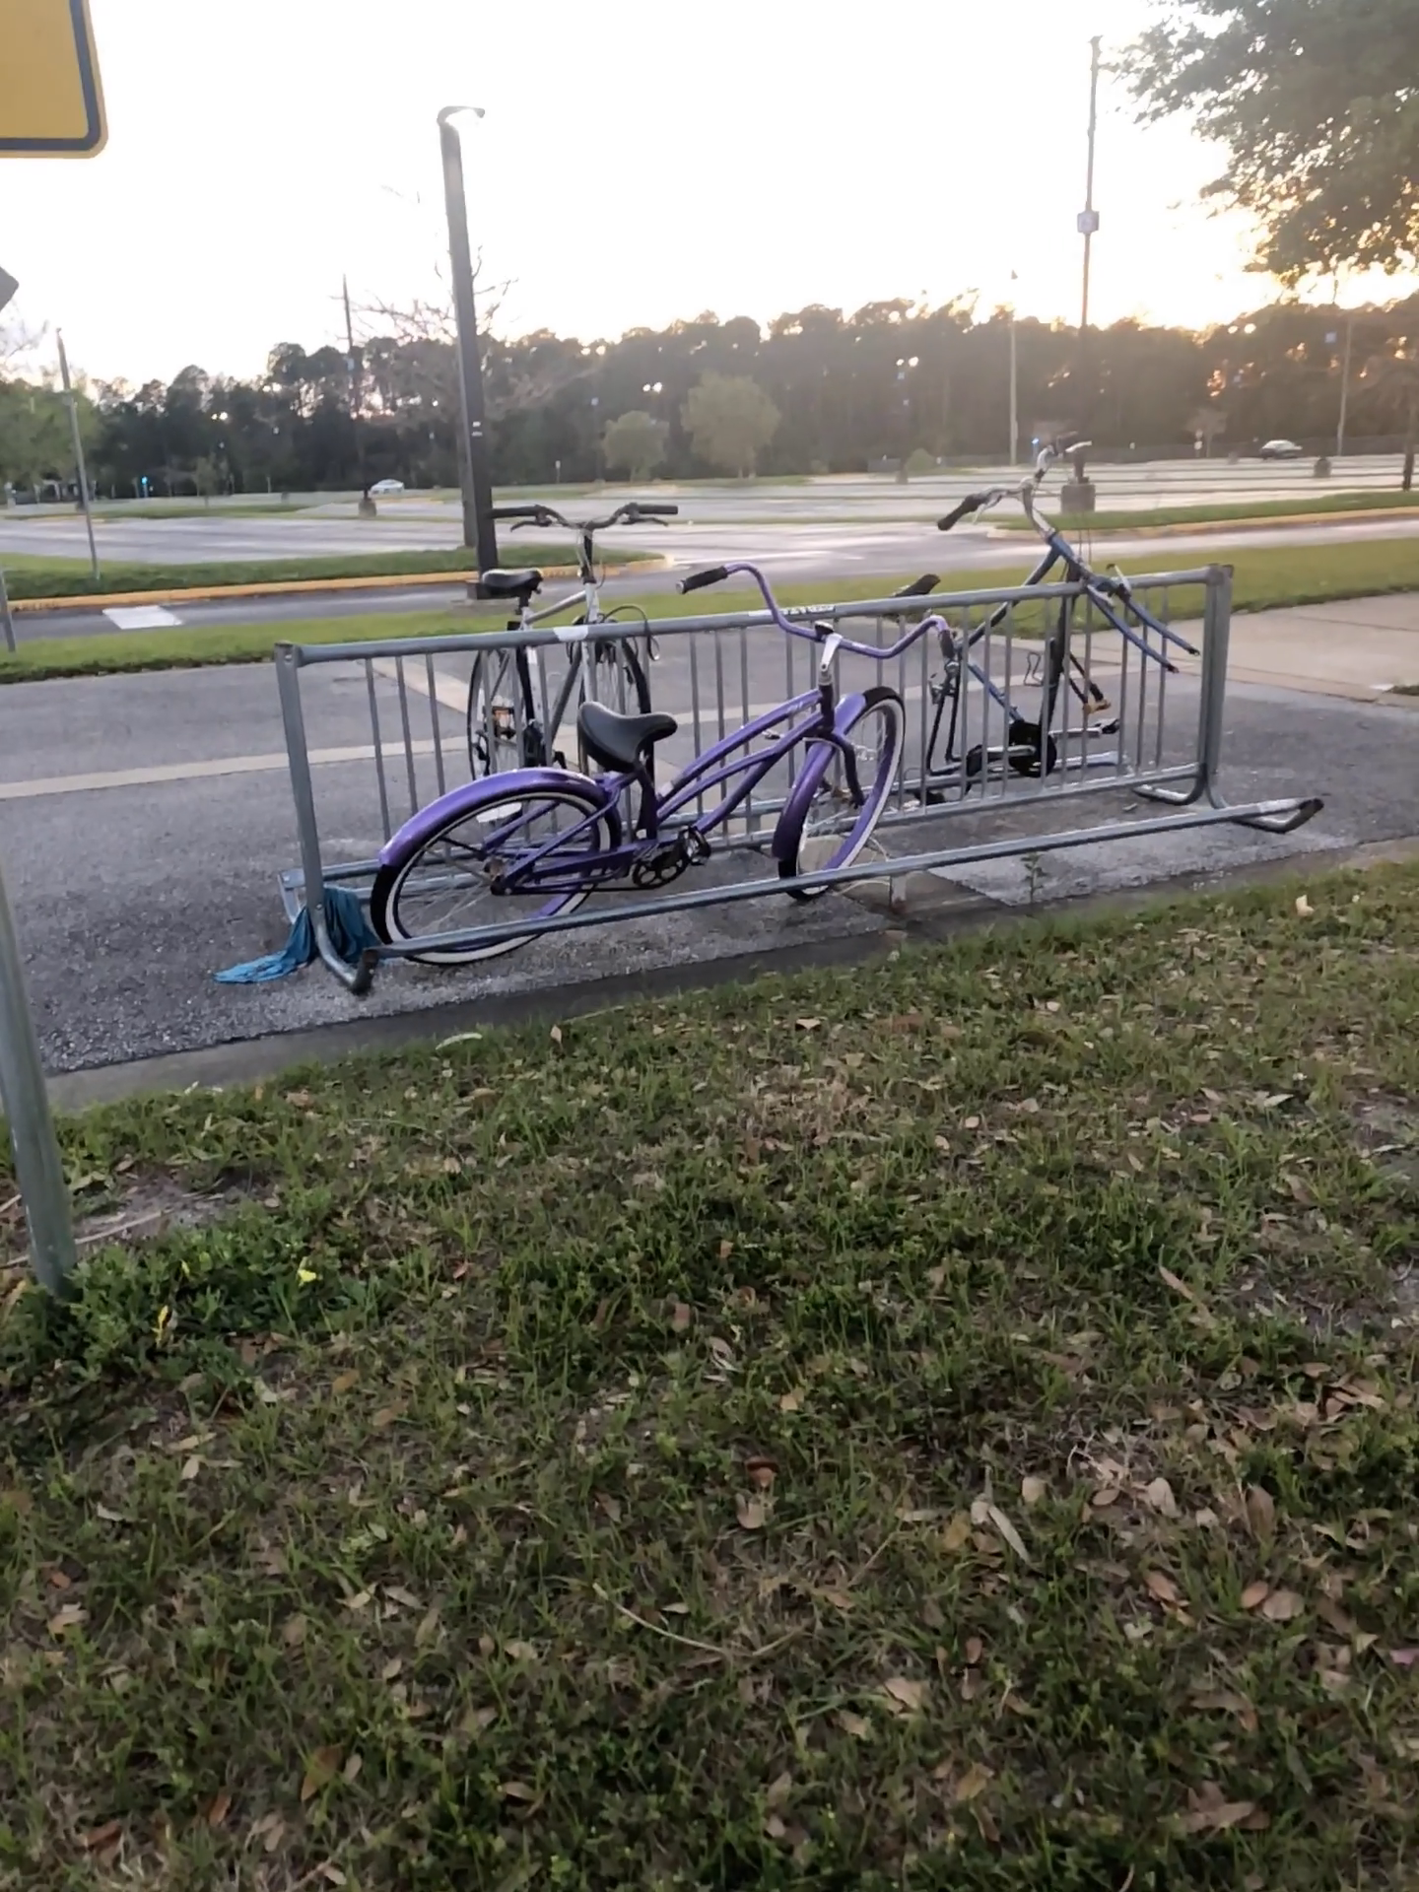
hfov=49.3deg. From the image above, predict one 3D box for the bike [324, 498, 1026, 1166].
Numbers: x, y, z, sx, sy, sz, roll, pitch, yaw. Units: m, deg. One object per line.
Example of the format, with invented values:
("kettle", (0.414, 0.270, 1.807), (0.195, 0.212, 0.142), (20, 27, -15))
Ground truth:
("bike", (-0.042, -0.435, 3.944), (1.703, 1.117, 0.852), (-18, 22, -31))
